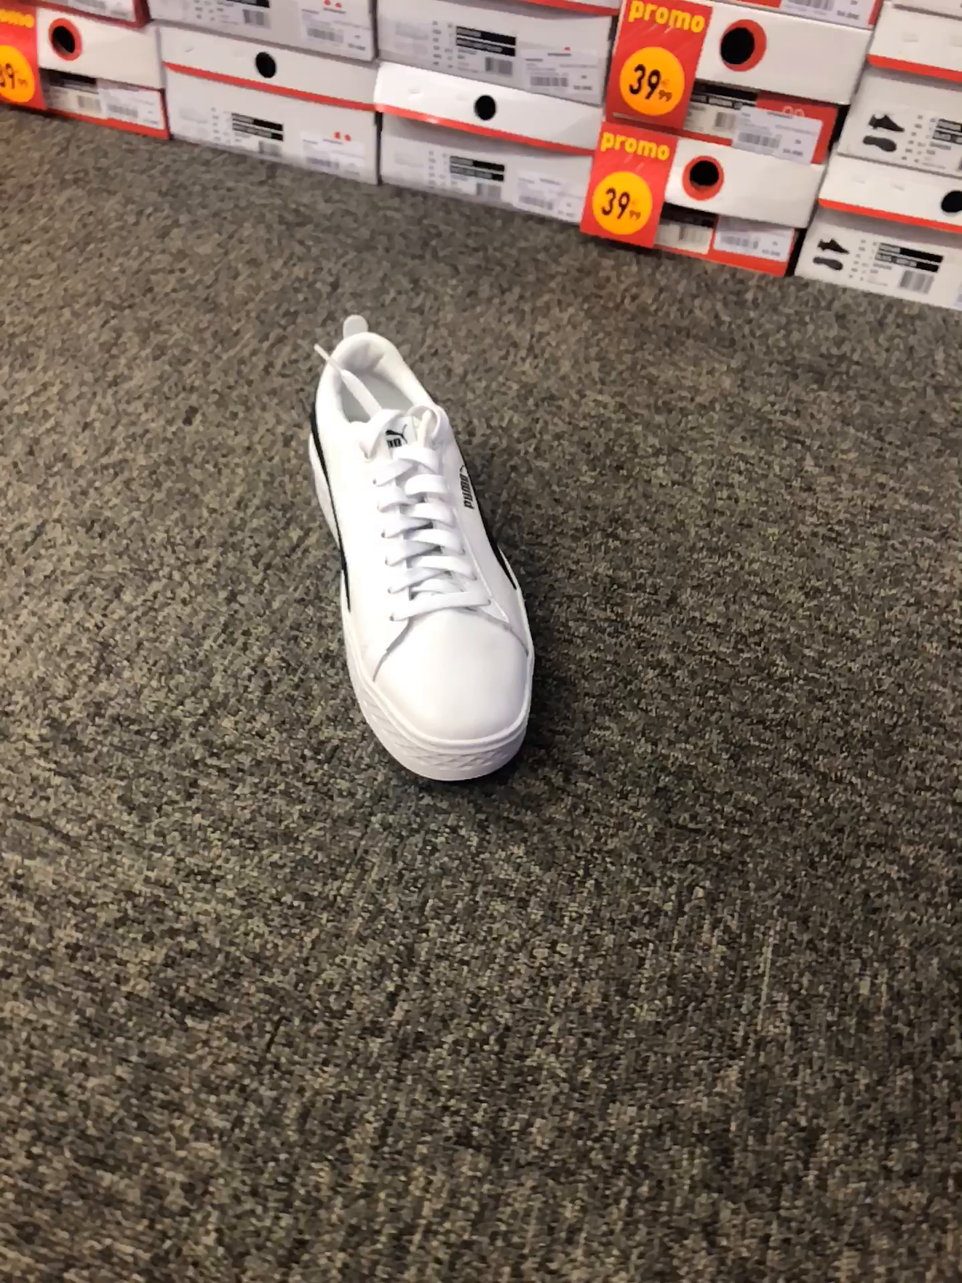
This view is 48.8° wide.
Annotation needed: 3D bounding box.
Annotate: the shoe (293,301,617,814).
[{"bbox_3d":[-0.029,-0.062,0.583,0.110,0.089,0.291,-7,52,-12],"label":"shoe"}]
